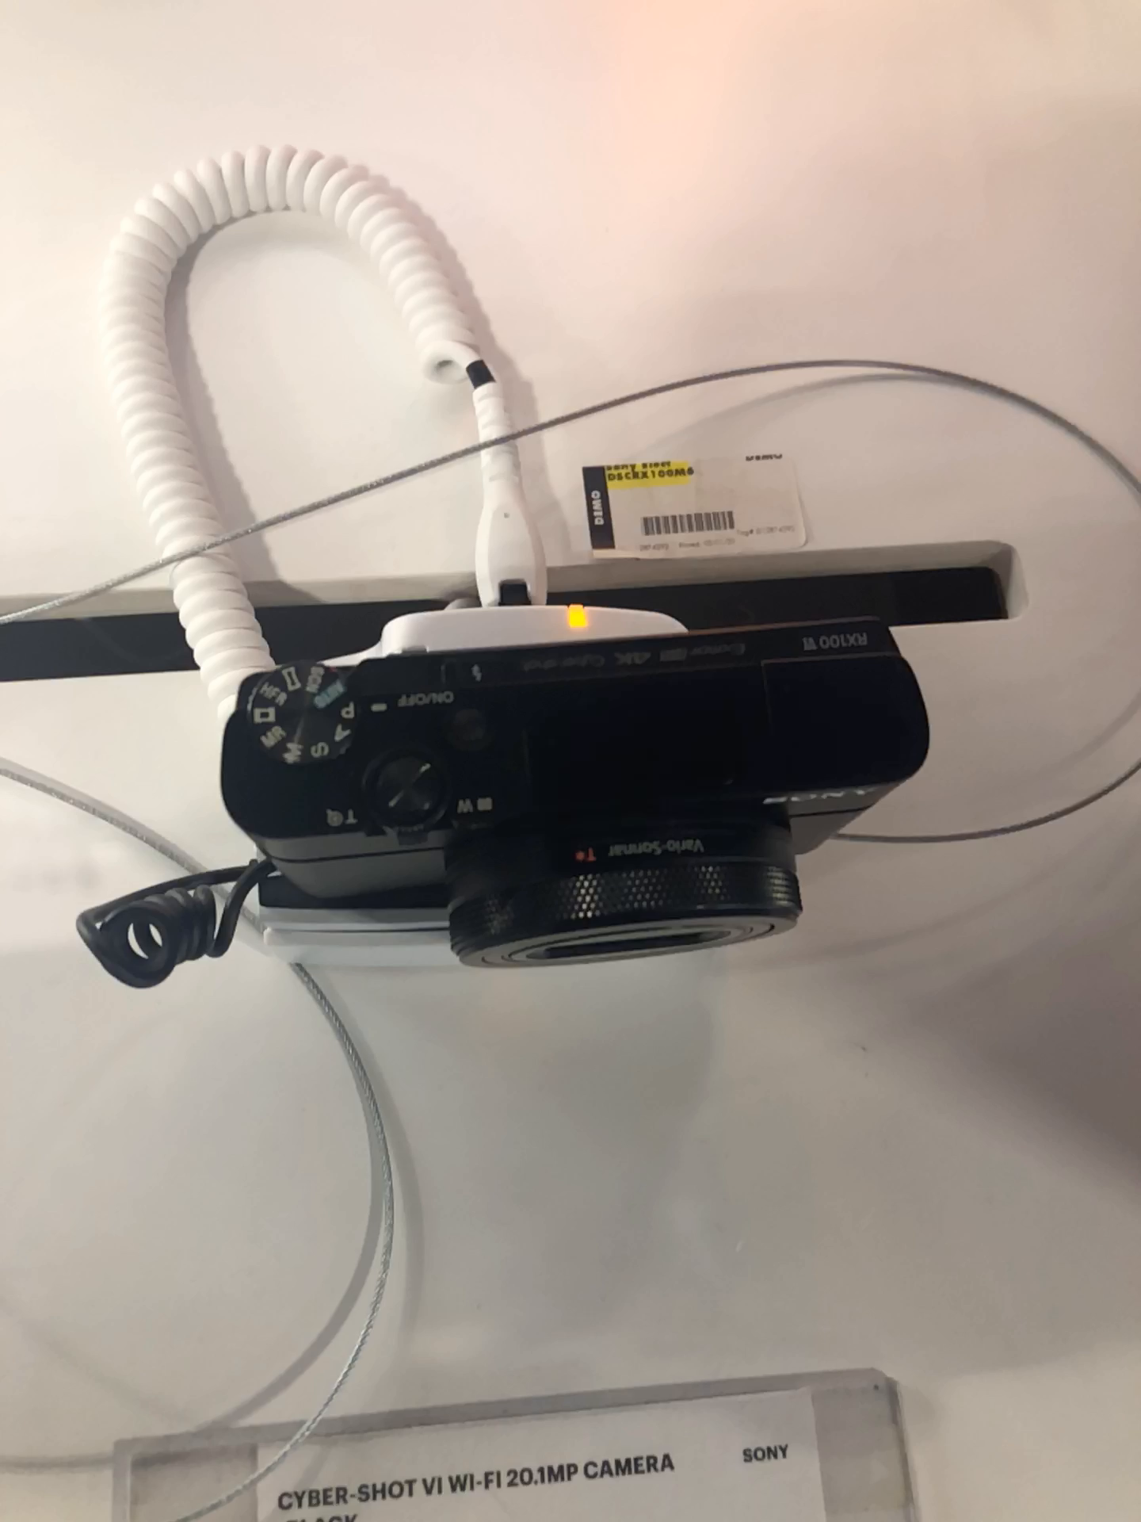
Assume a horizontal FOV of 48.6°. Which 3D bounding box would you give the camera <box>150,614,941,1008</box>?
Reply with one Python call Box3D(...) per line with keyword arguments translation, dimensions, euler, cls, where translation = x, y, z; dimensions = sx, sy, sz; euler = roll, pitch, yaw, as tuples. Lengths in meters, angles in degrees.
Box3D(translation=(-0.006, 0.011, 0.207), dimensions=(0.109, 0.060, 0.040), euler=(-5, 72, -5), cls="camera")
